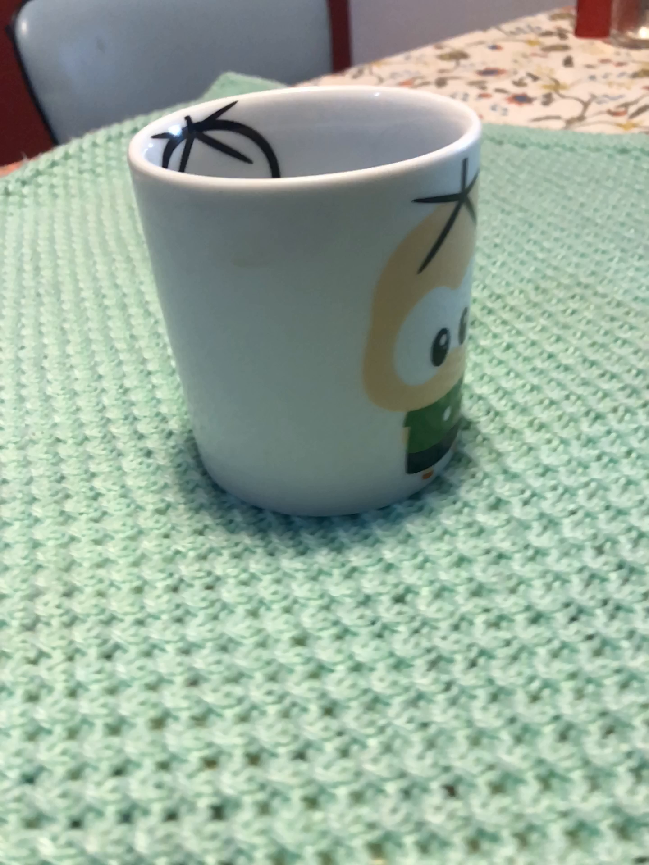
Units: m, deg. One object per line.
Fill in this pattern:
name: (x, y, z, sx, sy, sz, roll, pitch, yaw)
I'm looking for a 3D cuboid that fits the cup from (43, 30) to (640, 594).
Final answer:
cup: (0.014, -0.048, 0.214, 0.090, 0.099, 0.131, 24, 46, 33)
